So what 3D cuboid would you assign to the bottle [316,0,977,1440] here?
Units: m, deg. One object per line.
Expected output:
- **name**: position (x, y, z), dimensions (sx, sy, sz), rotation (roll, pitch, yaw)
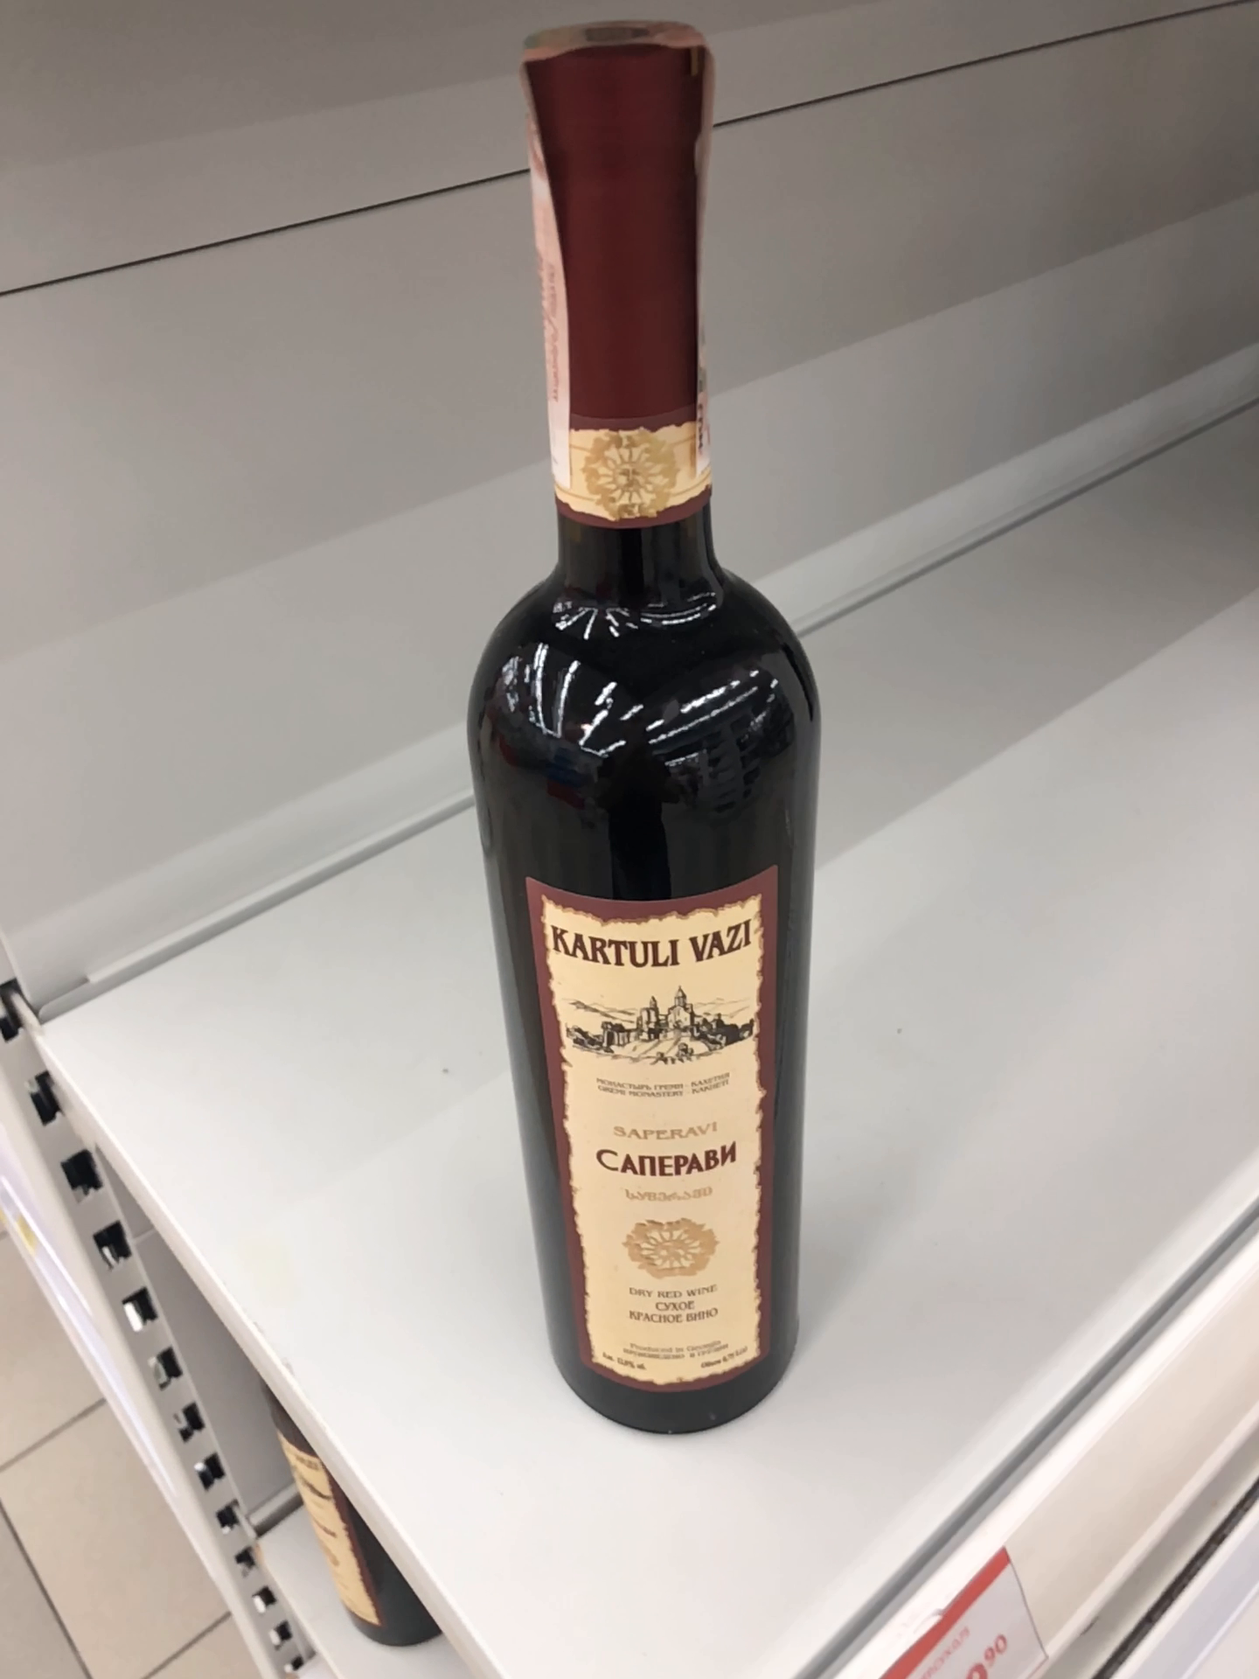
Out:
- **bottle**: position (0.008, 0.008, 0.284), dimensions (0.079, 0.299, 0.069), rotation (-2, 37, 1)
